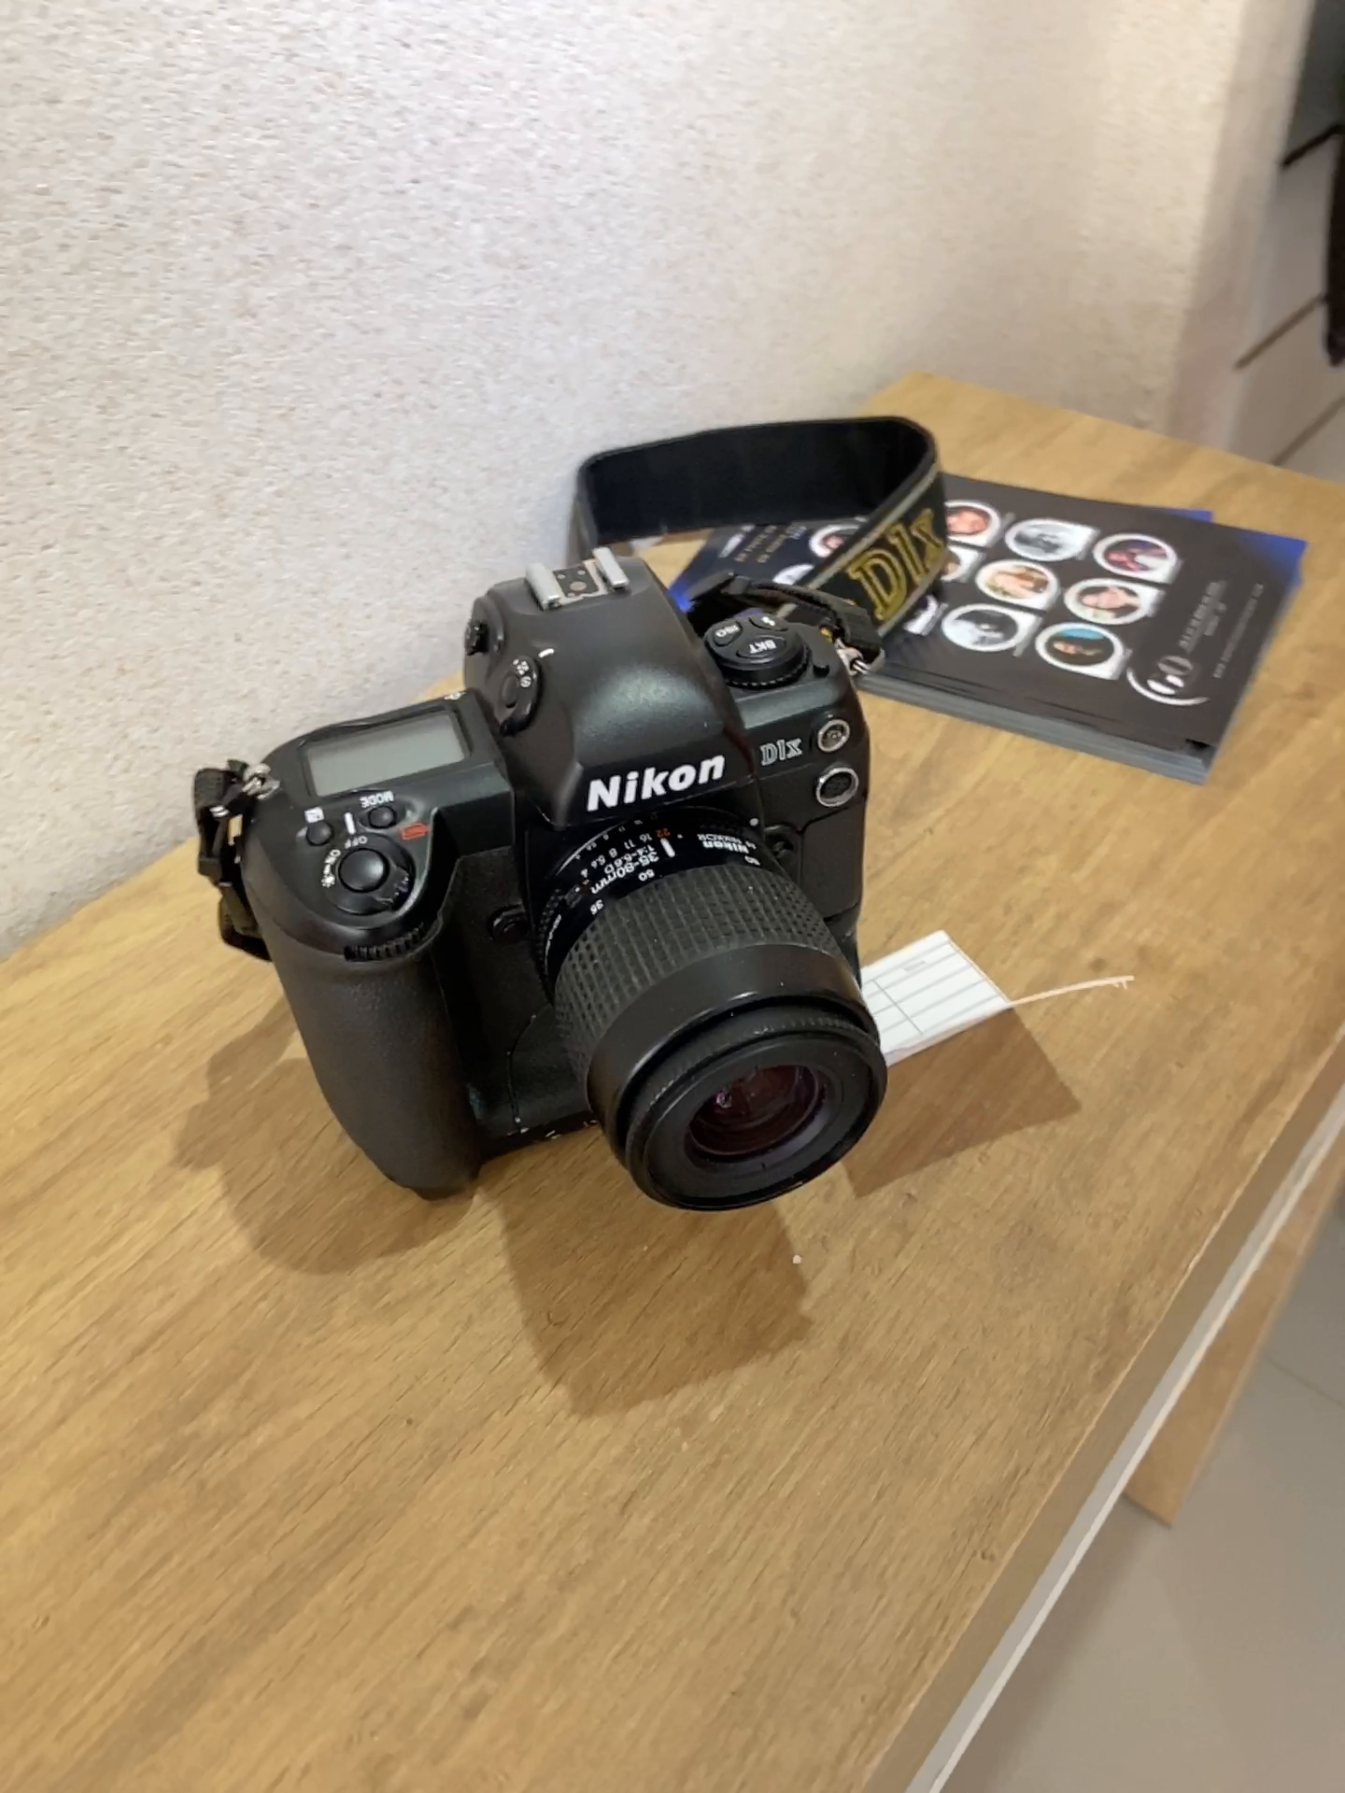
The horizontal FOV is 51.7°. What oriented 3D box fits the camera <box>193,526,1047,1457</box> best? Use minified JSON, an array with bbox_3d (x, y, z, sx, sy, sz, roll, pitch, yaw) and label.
[{"bbox_3d":[-0.019,0.016,0.363,0.150,0.129,0.161,-19,45,-13],"label":"camera"}]
